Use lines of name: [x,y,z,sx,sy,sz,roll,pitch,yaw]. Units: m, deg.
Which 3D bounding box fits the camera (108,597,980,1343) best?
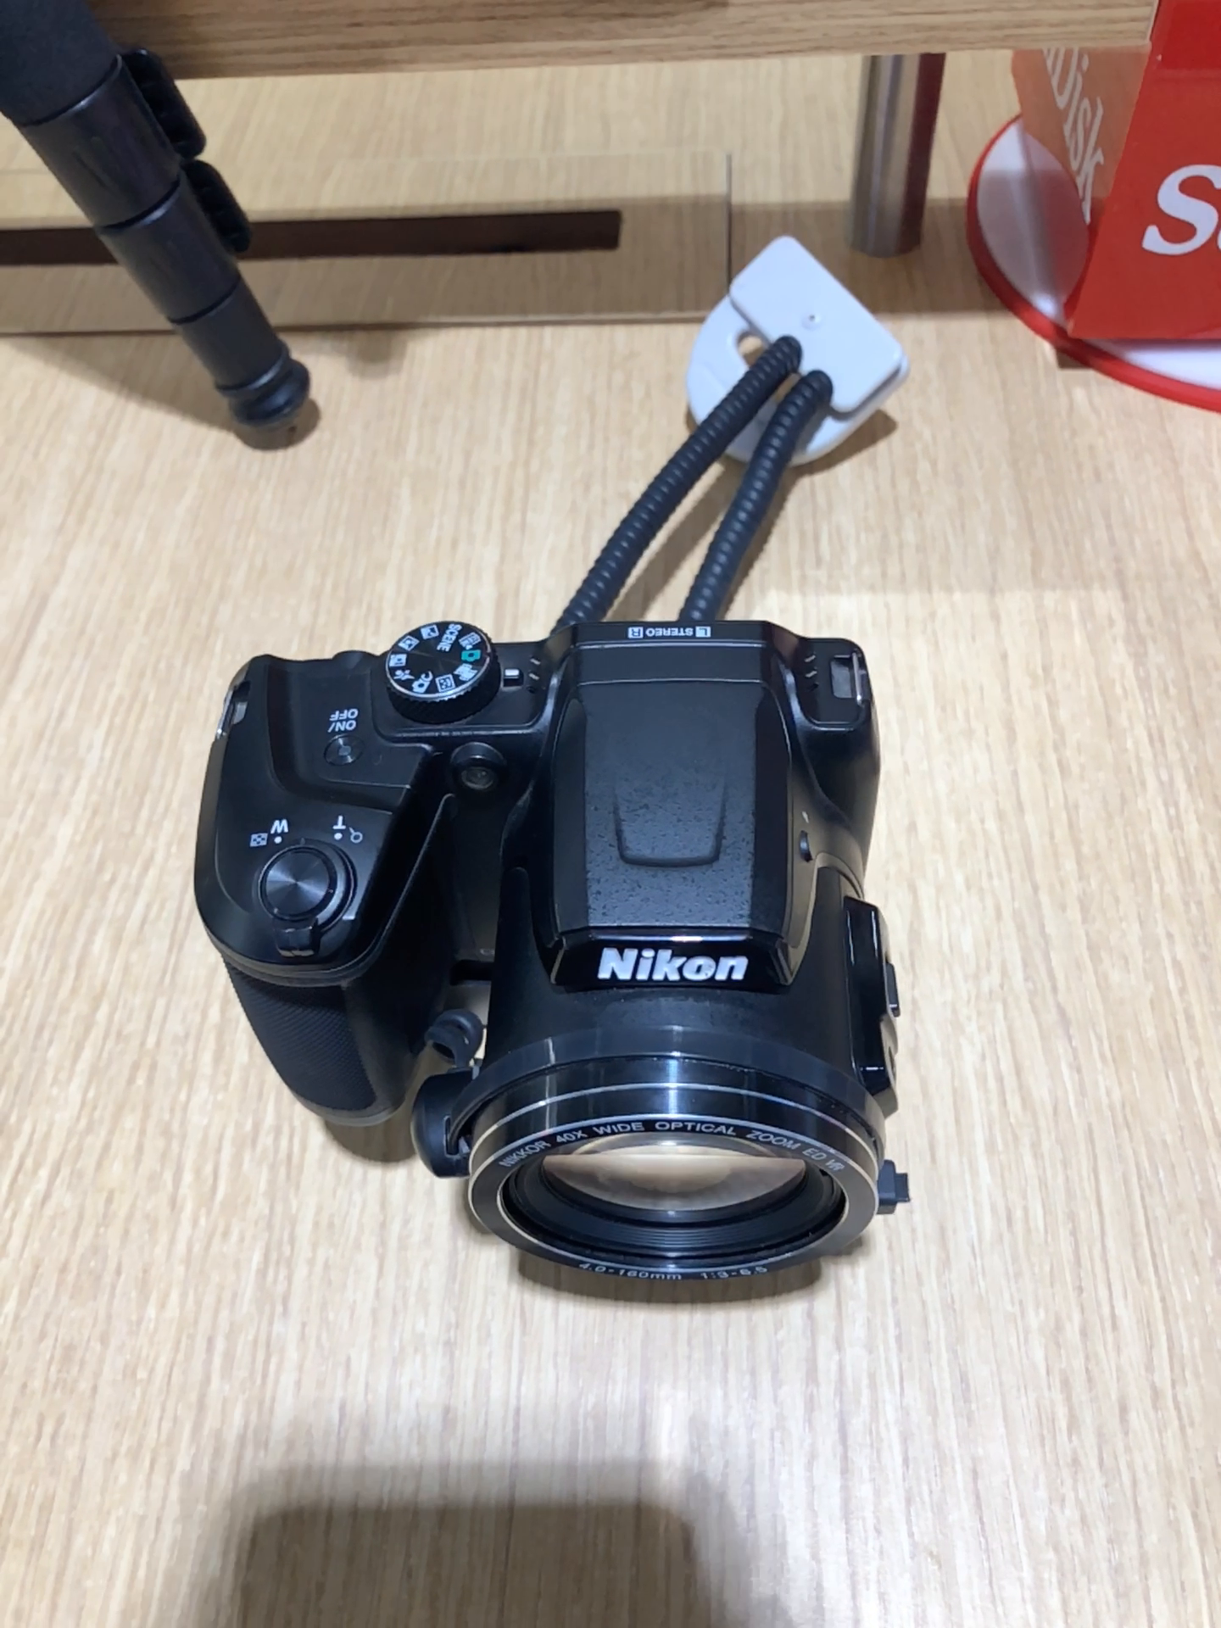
camera: [-0.006,0.026,0.216,0.103,0.070,0.093,-1,55,3]
